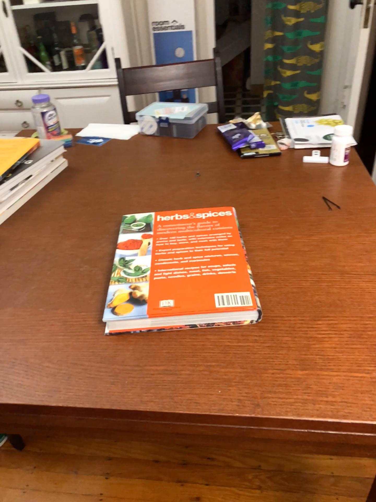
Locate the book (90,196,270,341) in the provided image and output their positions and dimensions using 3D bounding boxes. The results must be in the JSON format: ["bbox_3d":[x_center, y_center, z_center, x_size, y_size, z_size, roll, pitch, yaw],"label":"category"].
[{"bbox_3d":[-0.012,0.008,0.604,0.210,0.040,0.272,-4,35,1],"label":"book"}]
